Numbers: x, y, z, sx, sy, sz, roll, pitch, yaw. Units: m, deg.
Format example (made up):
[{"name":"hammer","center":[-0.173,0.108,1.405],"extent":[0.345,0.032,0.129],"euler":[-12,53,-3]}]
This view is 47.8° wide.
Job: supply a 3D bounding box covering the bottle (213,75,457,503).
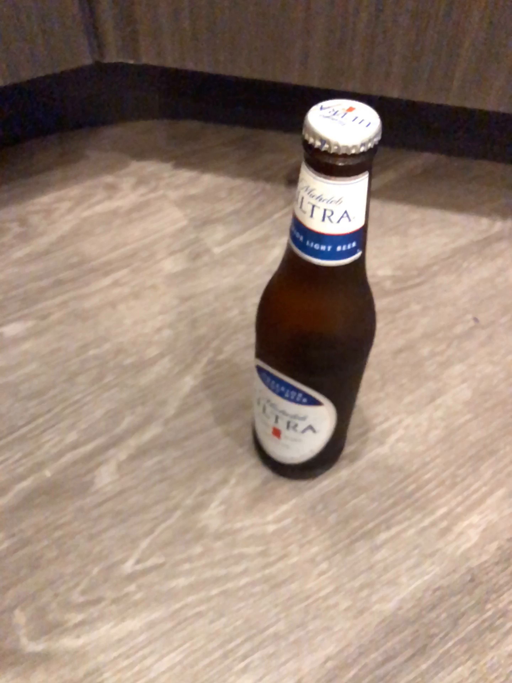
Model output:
[{"name":"bottle","center":[0.027,-0.006,0.281],"extent":[0.060,0.209,0.060],"euler":[0,51,0]}]
